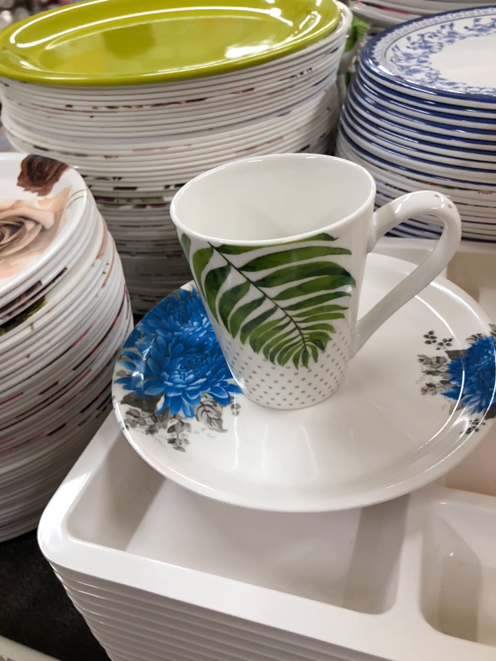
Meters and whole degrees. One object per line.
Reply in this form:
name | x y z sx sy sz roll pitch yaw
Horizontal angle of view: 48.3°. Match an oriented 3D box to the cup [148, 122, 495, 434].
cup | 0.026 -0.026 0.248 0.120 0.089 0.080 -11 39 -4
